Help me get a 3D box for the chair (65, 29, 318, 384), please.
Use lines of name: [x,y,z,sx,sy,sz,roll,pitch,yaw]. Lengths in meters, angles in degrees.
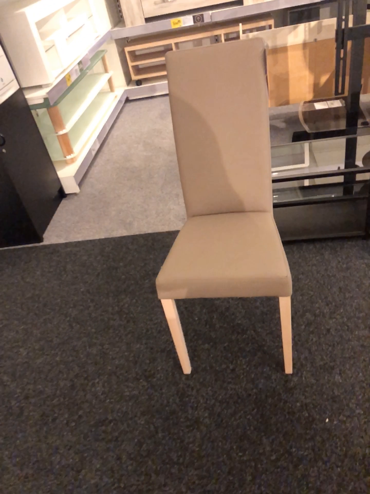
chair: [0.123,-0.101,1.349,0.530,0.944,0.634,-3,37,12]
